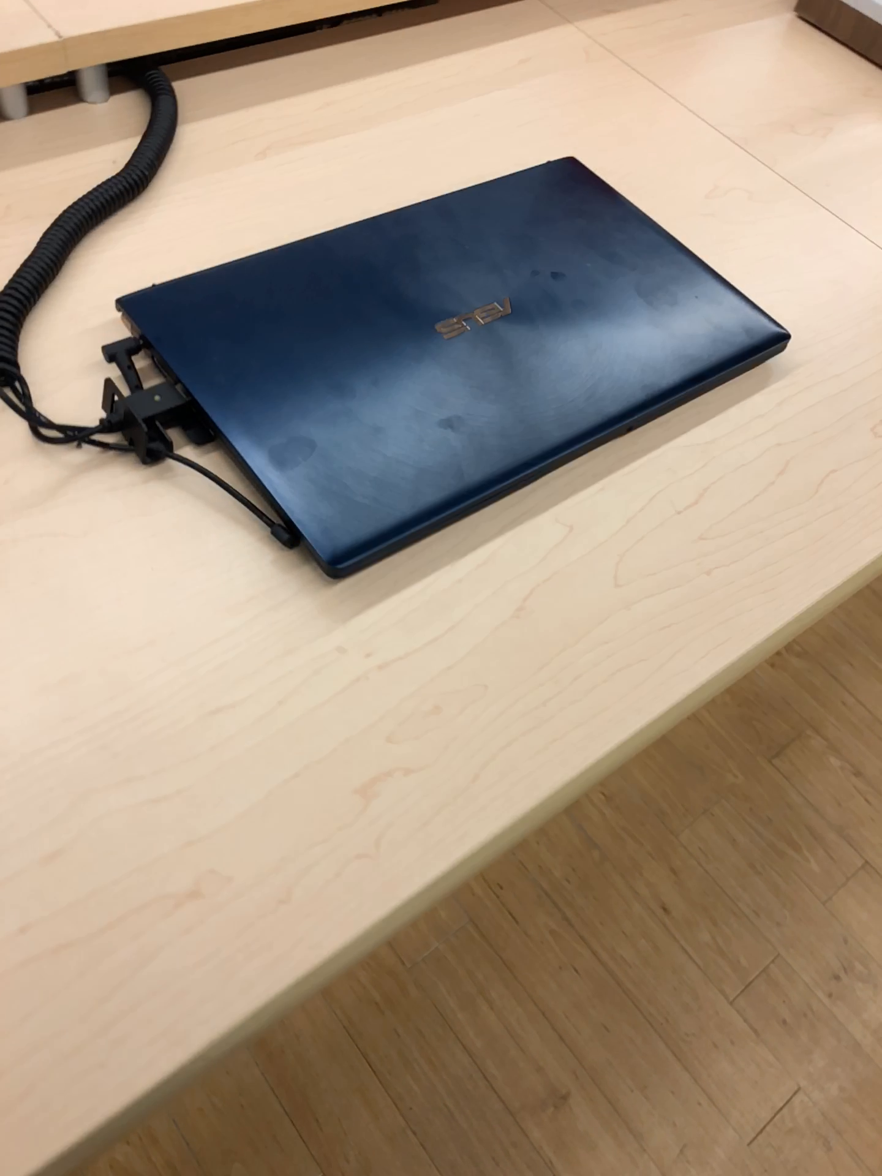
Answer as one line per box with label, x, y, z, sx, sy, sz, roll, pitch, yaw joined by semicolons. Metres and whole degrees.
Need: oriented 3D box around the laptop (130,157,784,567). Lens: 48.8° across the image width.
laptop;0.019;-0.137;0.497;0.296;0.001;0.177;-29;65;-26
